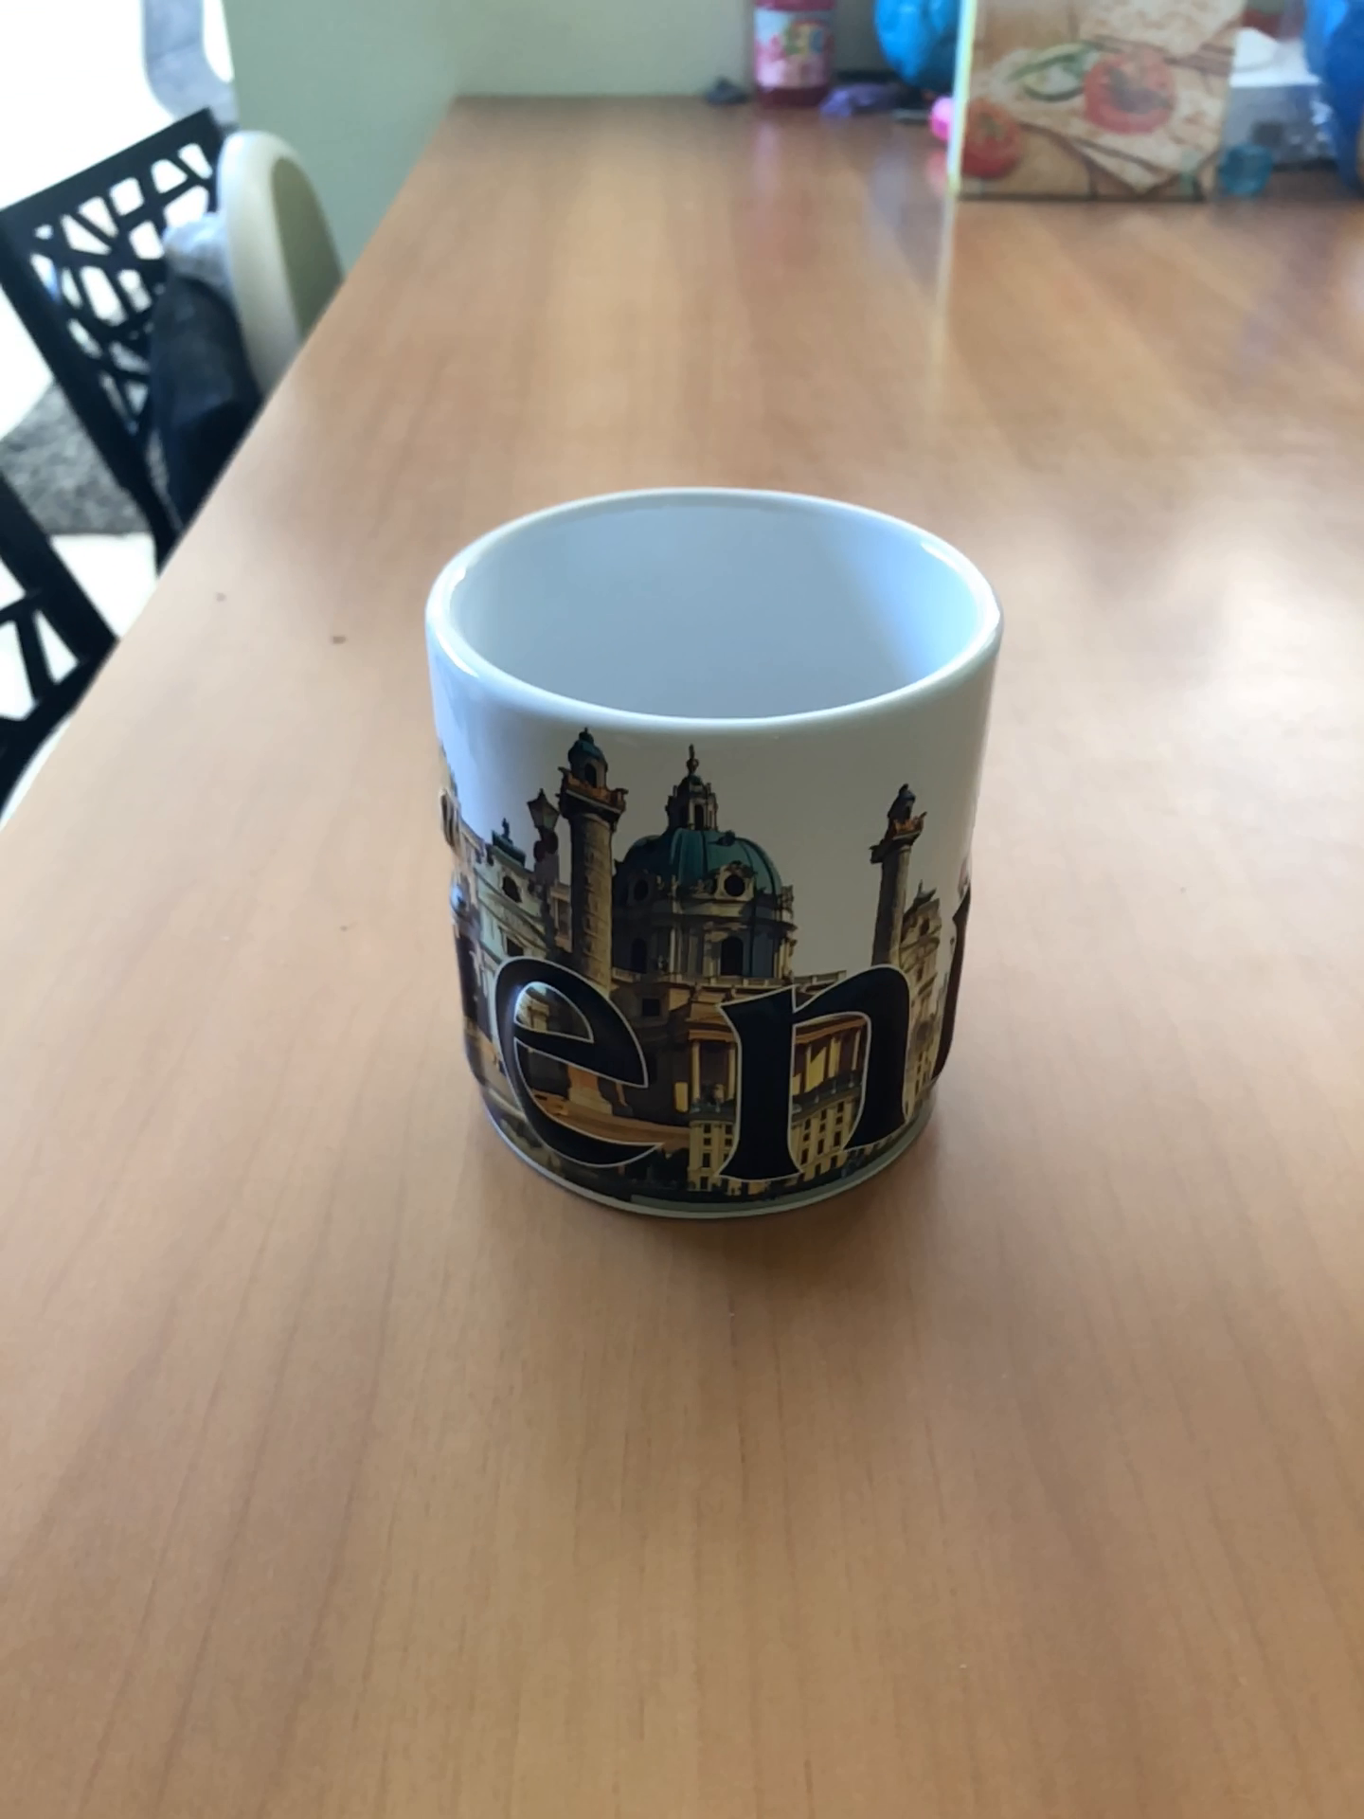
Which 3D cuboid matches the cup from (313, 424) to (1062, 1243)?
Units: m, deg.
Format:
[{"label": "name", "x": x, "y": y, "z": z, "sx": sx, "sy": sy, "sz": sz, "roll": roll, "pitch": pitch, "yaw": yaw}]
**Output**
[{"label": "cup", "x": -0.002, "y": -0.025, "z": 0.313, "sx": 0.110, "sy": 0.099, "sz": 0.151, "roll": -2, "pitch": 36, "yaw": -2}]
